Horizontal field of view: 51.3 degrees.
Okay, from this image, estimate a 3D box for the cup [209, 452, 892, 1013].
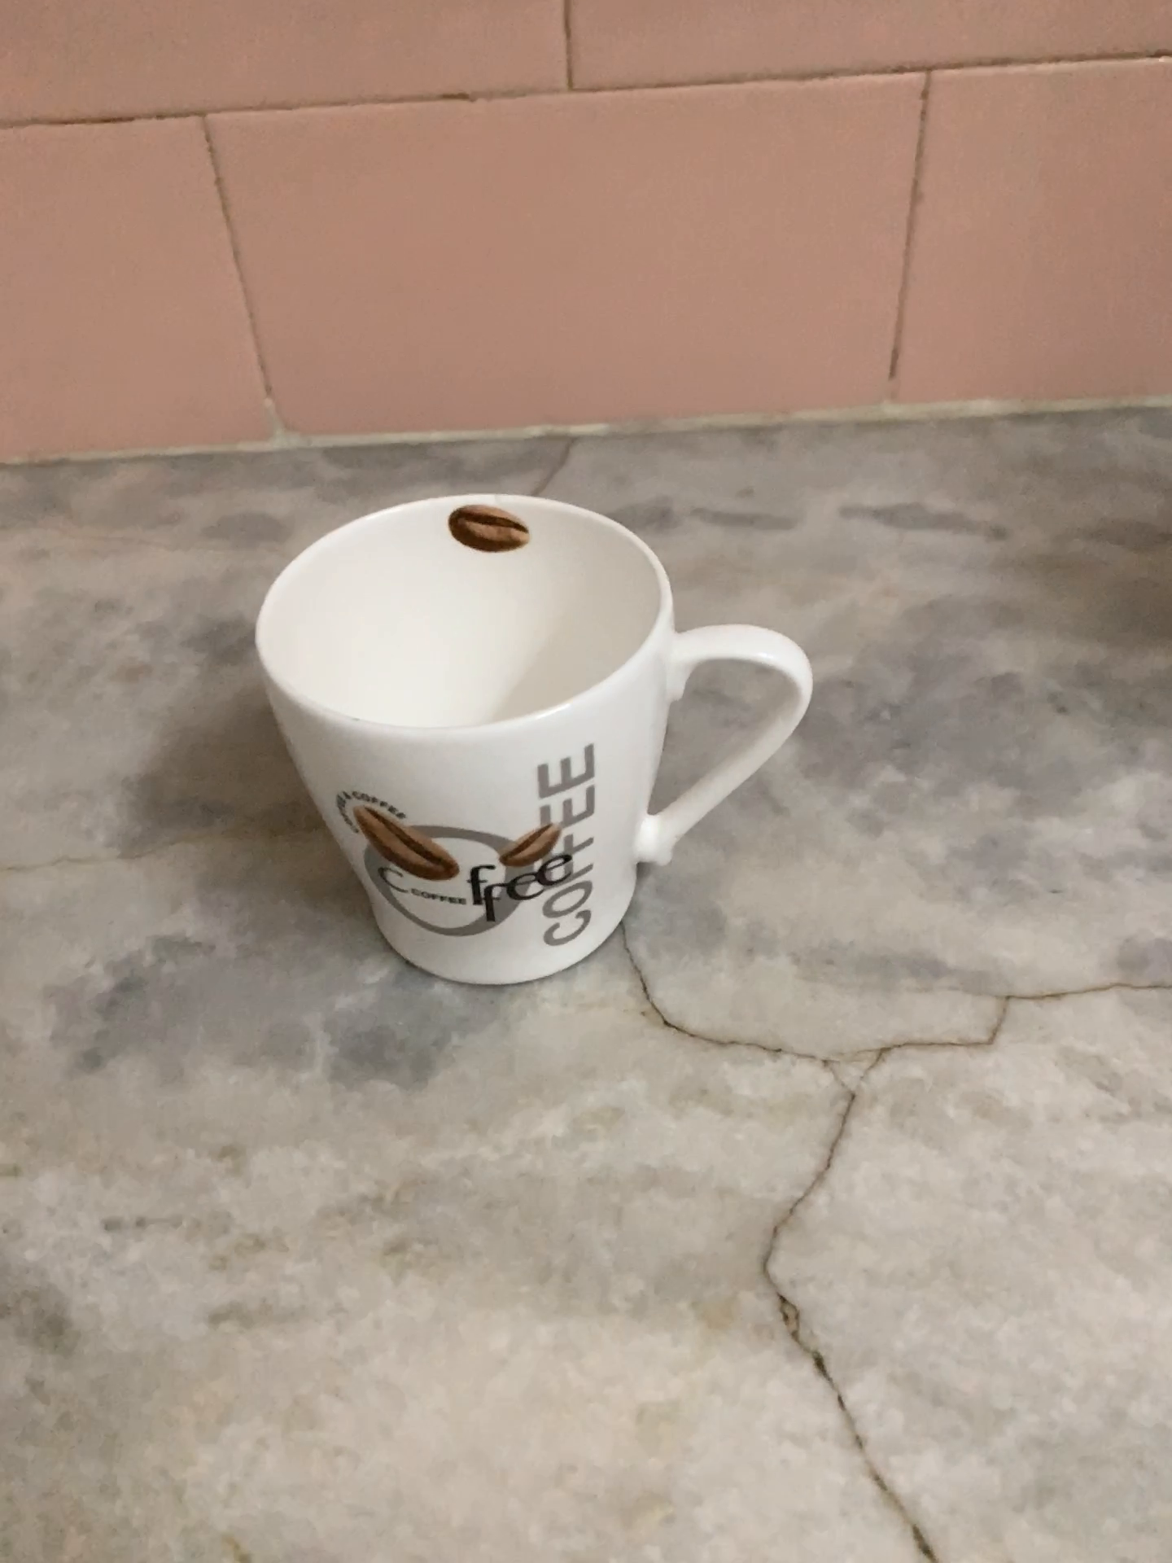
[{"bbox_3d":[-0.005,-0.009,0.228,0.100,0.070,0.070,-4,43,1],"label":"cup"}]
